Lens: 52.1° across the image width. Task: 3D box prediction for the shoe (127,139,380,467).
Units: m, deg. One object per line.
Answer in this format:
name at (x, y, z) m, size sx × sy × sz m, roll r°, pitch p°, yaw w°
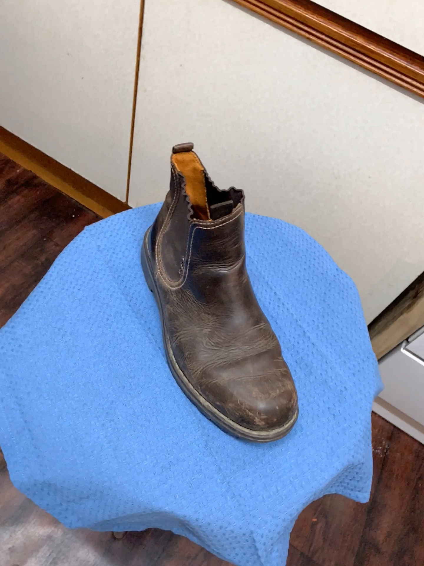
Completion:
shoe at (0.012, 0.012, 0.445) m, size 0.105 × 0.156 × 0.280 m, roll -14°, pitch 60°, yaw -24°
